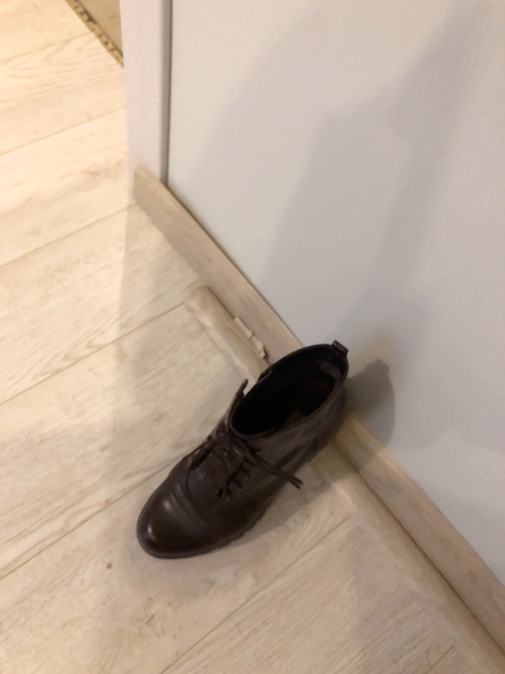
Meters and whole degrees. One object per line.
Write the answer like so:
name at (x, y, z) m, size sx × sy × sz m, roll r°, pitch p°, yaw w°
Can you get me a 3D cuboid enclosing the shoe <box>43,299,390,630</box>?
shoe at (-0.016, 0.112, 0.507) m, size 0.260 × 0.180 × 0.100 m, roll -40°, pitch 73°, yaw -4°
